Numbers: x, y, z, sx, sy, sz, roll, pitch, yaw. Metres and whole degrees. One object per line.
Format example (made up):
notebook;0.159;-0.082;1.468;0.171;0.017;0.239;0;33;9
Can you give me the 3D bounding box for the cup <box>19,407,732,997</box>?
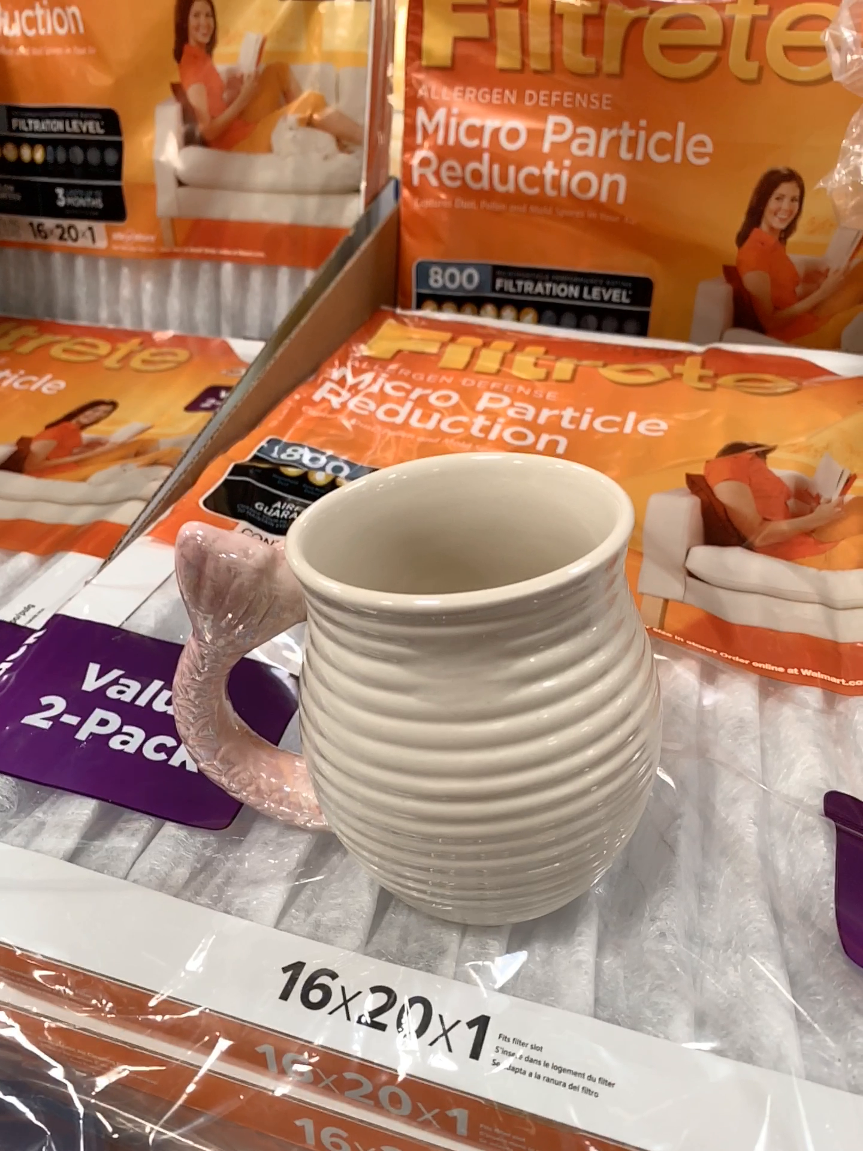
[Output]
cup;-0.003;0.019;0.233;0.141;0.090;0.101;6;31;20
